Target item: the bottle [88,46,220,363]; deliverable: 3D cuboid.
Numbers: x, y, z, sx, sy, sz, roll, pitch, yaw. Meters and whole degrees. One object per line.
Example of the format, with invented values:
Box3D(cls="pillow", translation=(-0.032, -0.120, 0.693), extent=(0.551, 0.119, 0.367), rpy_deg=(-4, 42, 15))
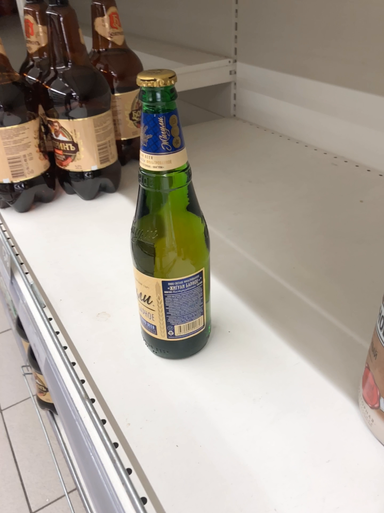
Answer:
Box3D(cls="bottle", translation=(-0.026, -0.033, 0.364), extent=(0.080, 0.249, 0.091), rpy_deg=(-7, 35, -7))
